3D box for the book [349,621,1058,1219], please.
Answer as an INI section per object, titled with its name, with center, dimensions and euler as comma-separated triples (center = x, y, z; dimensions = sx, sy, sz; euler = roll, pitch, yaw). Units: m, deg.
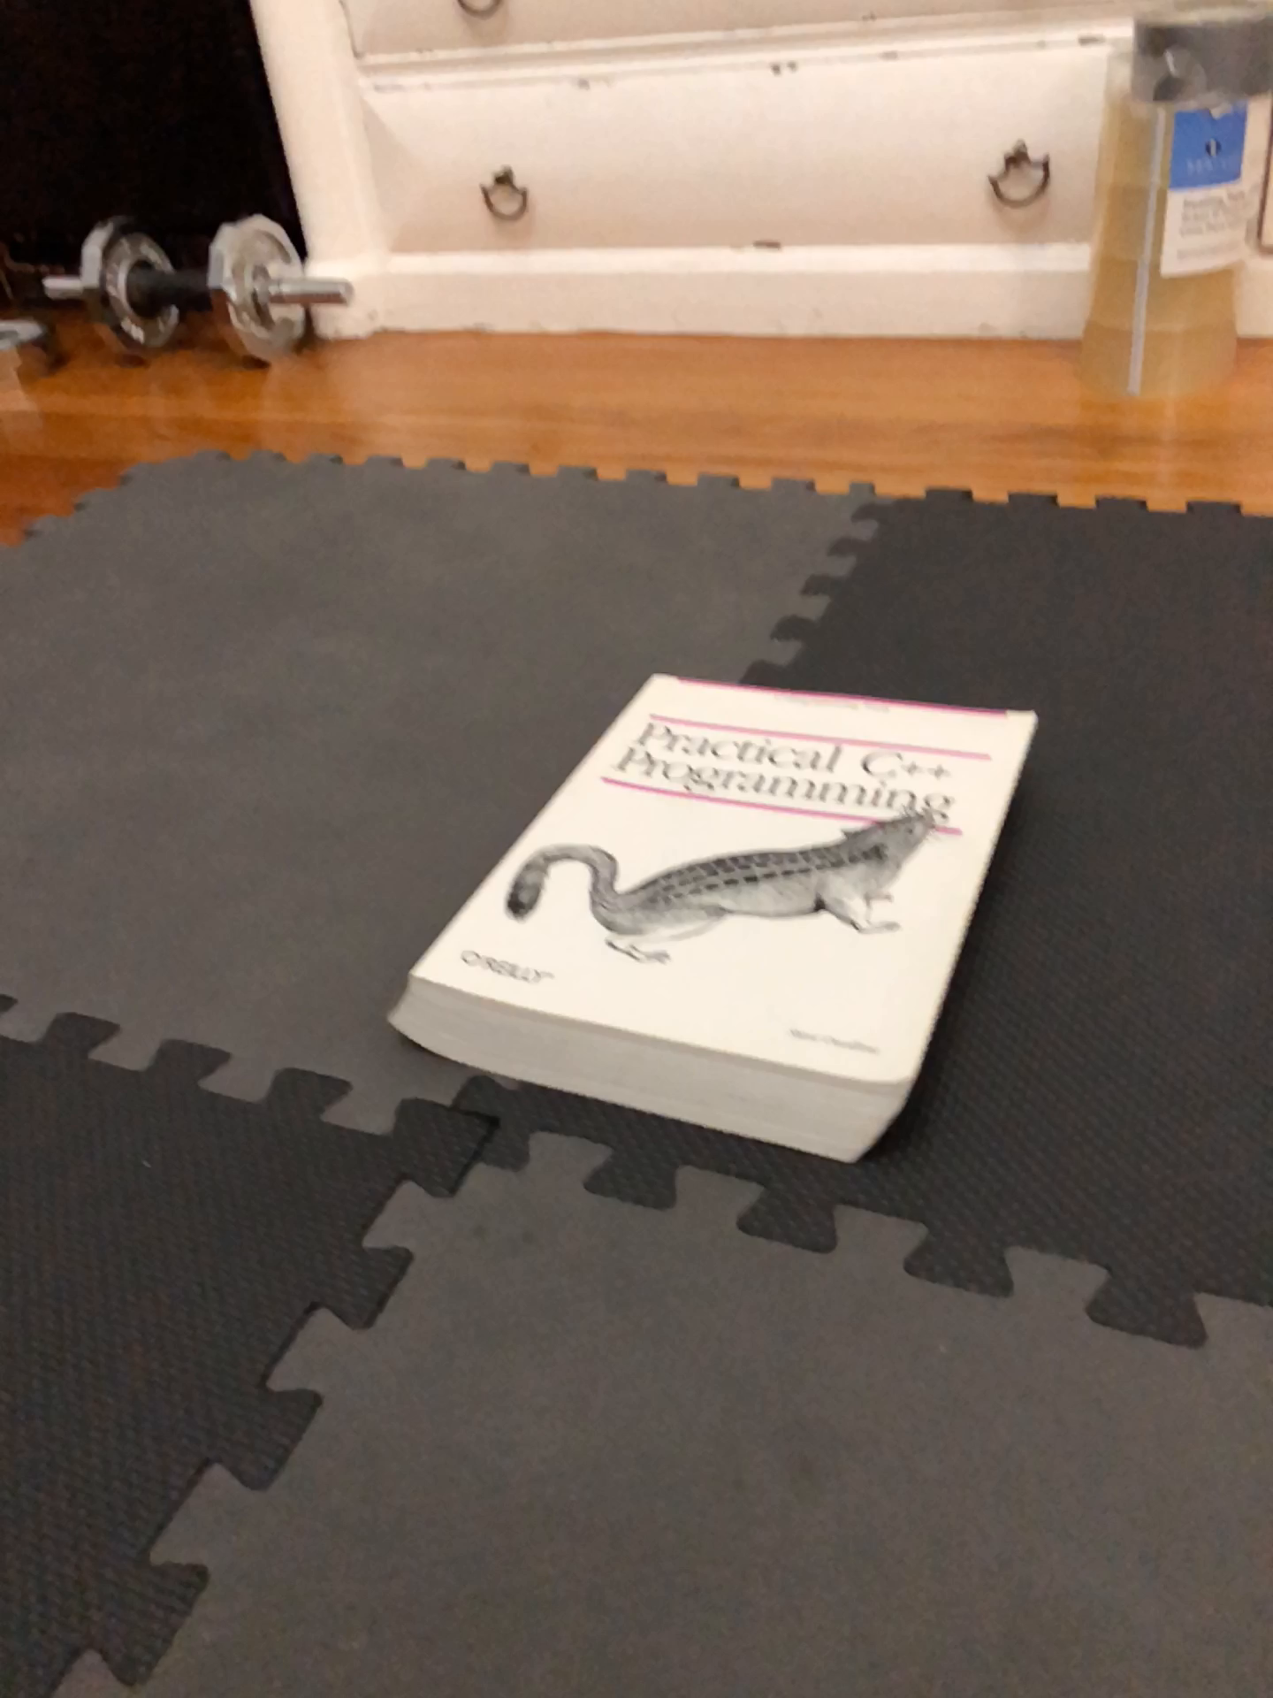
[book]
center = 0.041, 0.005, 0.558
dimensions = 0.200, 0.050, 0.251
euler = 14, 40, 18
